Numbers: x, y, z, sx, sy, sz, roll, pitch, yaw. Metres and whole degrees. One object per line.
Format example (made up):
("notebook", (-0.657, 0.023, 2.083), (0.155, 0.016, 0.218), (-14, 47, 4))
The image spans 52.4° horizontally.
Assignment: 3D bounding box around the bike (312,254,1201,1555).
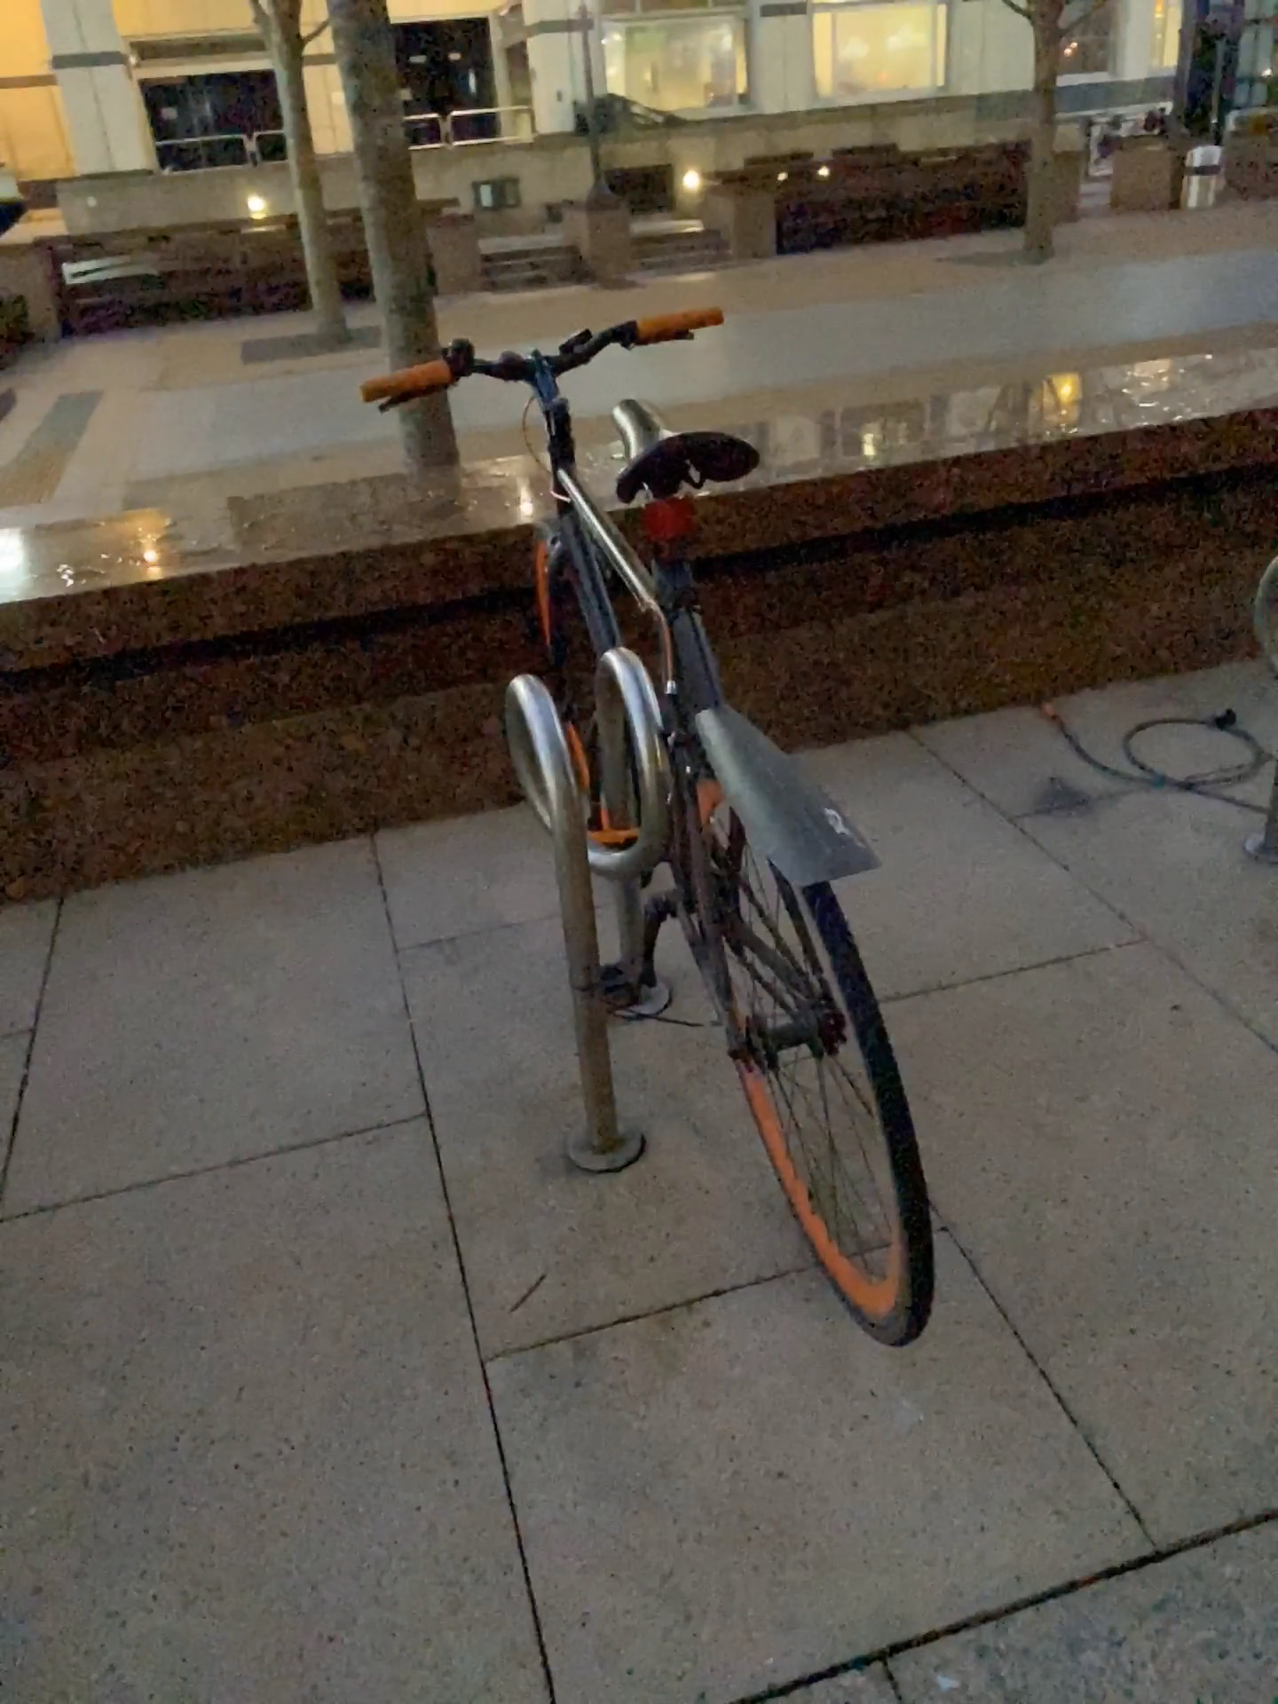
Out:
("bike", (-0.033, -0.178, 1.791), (0.524, 0.981, 1.648), (-12, 31, -11))
